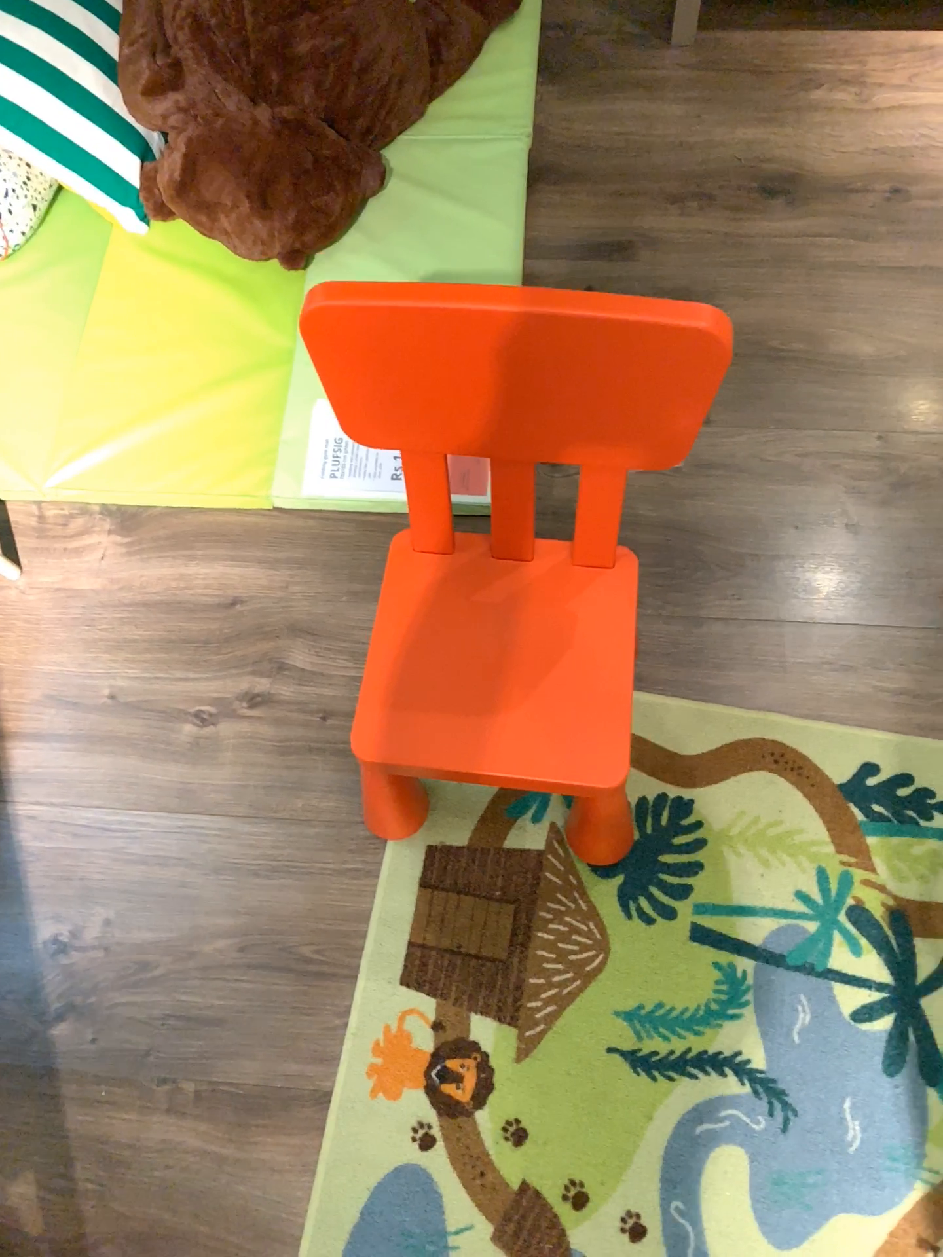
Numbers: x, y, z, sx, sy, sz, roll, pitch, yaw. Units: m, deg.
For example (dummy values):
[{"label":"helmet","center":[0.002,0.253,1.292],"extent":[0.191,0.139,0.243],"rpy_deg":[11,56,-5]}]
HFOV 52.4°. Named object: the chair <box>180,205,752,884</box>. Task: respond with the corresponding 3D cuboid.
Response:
[{"label":"chair","center":[0.031,-0.030,1.026],"extent":[0.380,0.599,0.460],"rpy_deg":[7,68,6]}]
